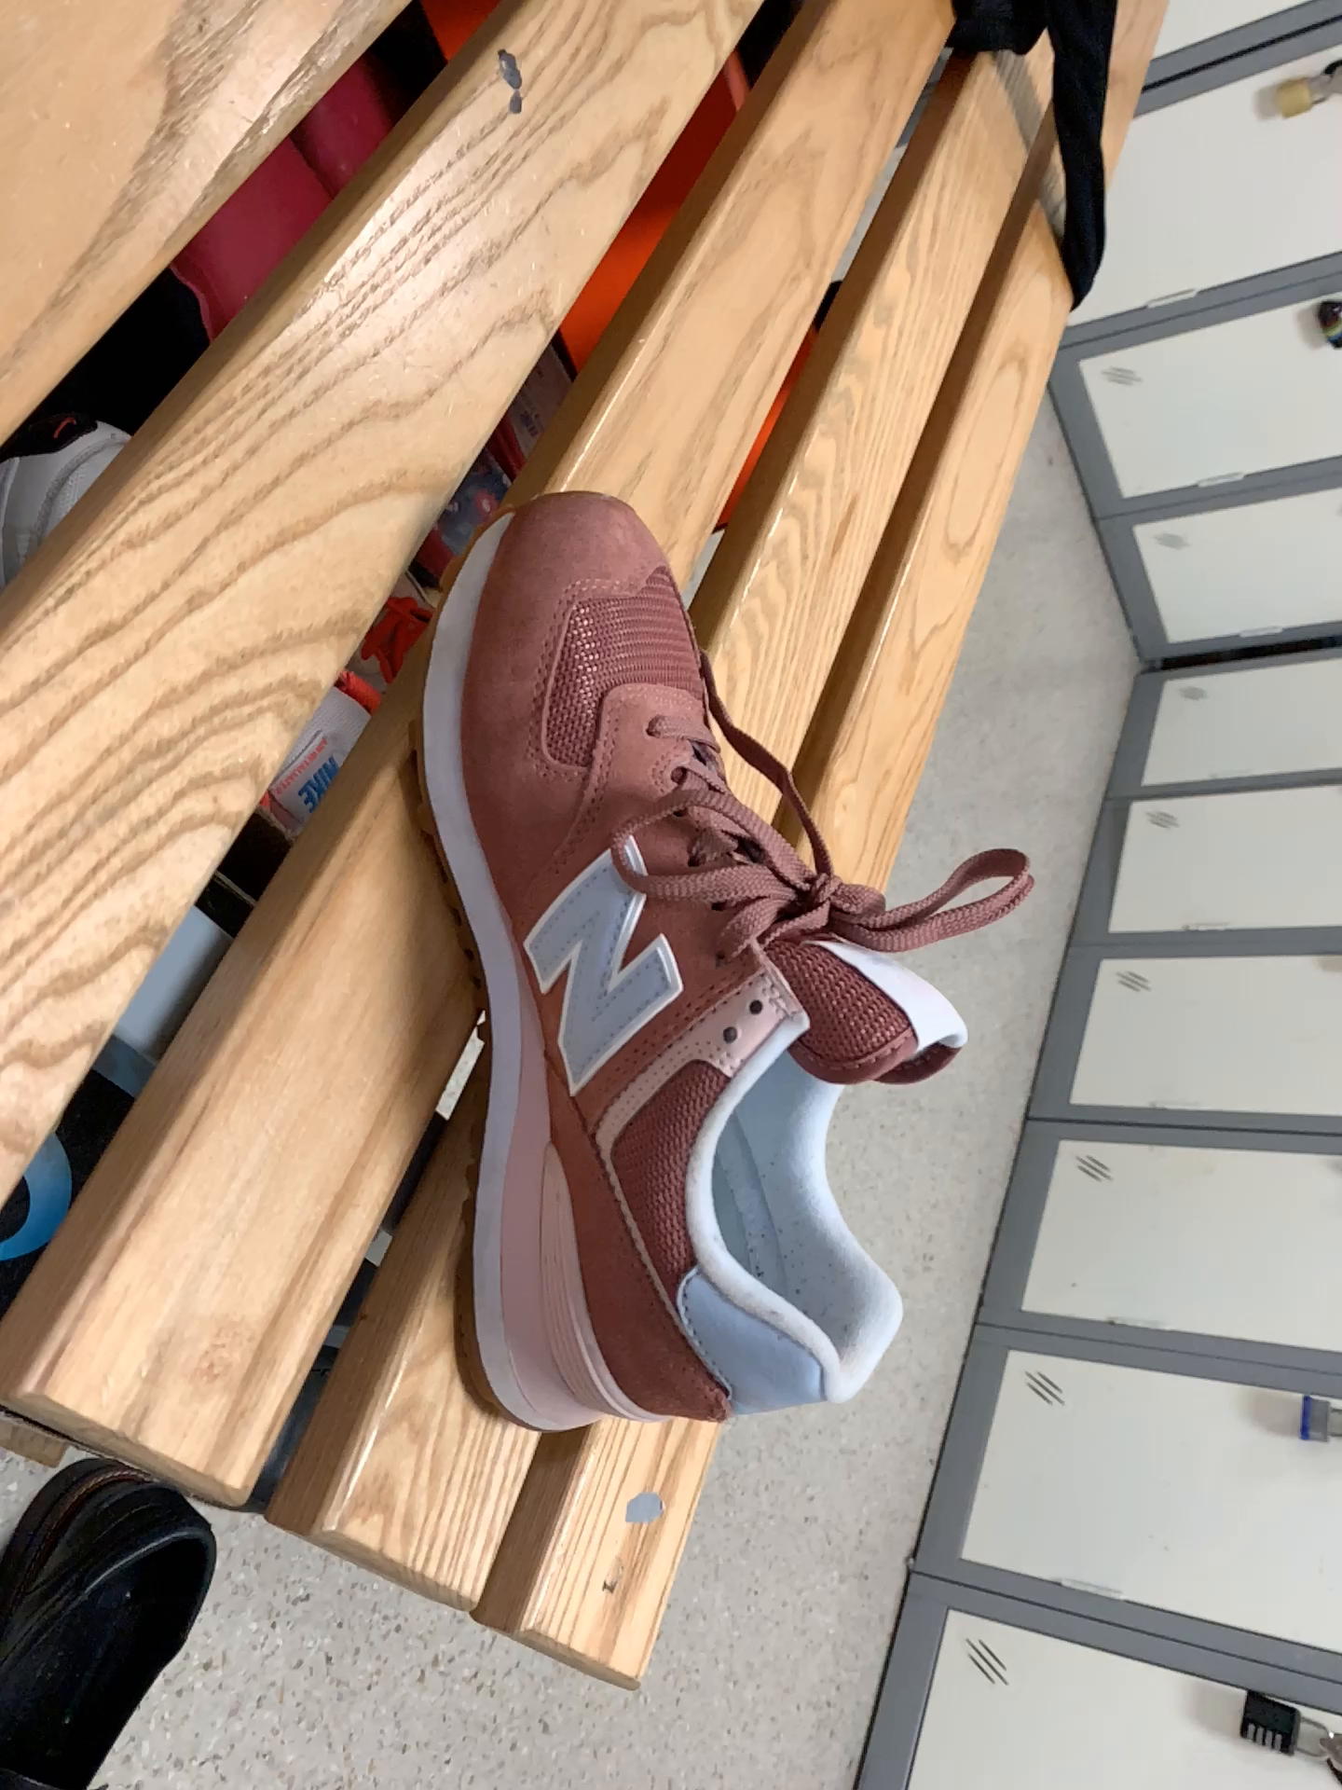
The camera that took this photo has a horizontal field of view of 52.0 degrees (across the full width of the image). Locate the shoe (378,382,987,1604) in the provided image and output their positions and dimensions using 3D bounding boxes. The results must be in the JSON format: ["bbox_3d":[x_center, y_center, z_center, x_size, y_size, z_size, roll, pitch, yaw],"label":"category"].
[{"bbox_3d":[0.006,0.021,0.367,0.110,0.105,0.259,-3,90,-54],"label":"shoe"}]
